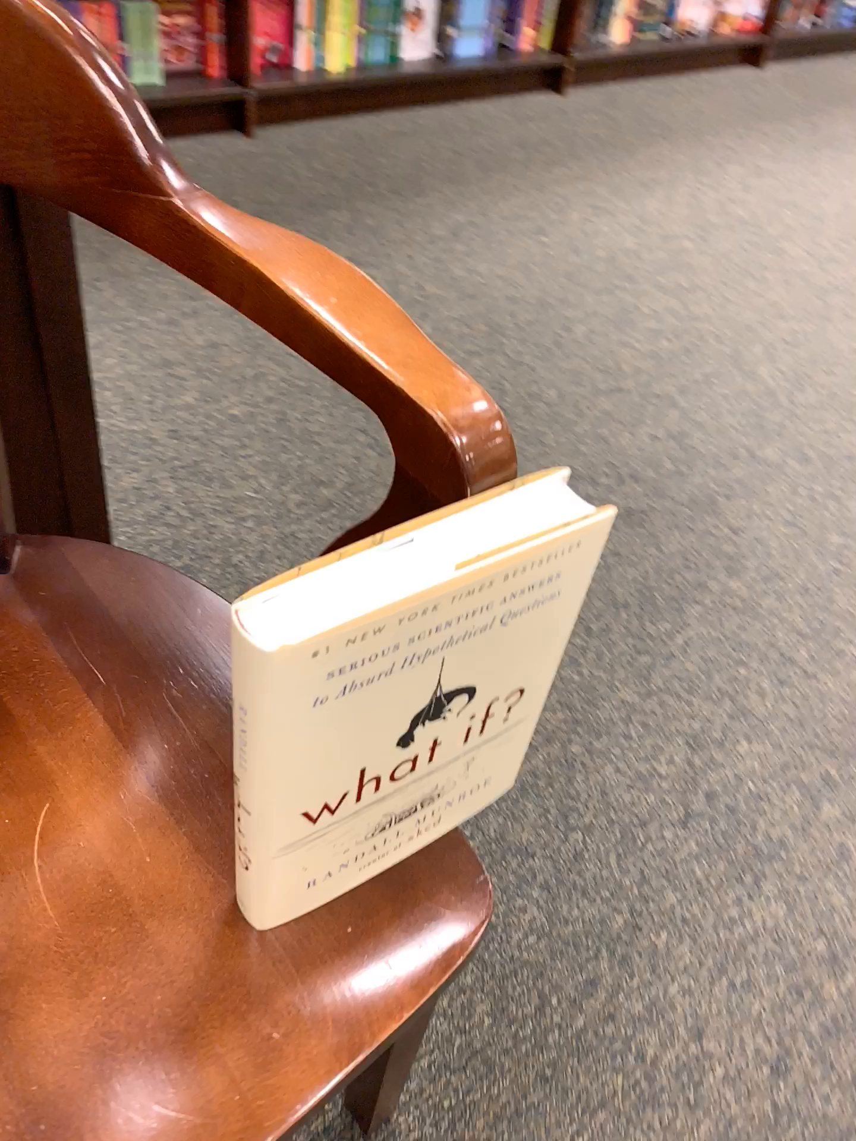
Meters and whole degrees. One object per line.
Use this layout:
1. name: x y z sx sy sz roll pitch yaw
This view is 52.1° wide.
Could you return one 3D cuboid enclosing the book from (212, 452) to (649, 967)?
1. book: -0.006 0.076 0.439 0.188 0.239 0.050 -23 53 -30
